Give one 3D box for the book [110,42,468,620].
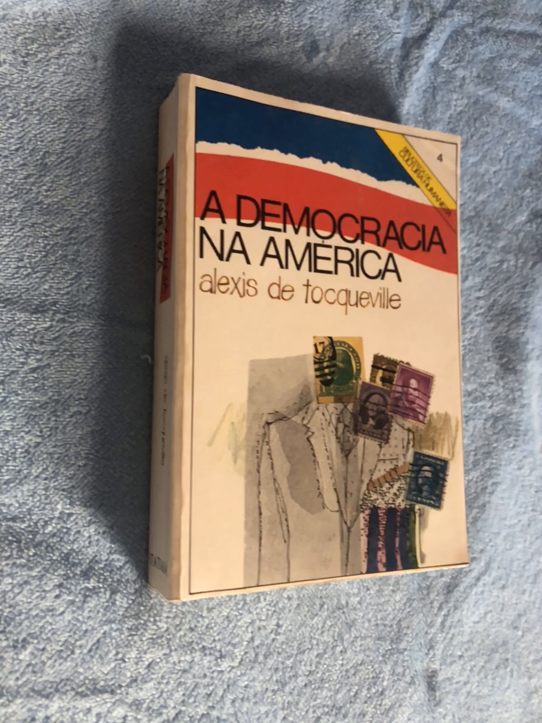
[{"bbox_3d":[0.011,-0.009,0.261,0.141,0.050,0.200,3,86,-24],"label":"book"}]
